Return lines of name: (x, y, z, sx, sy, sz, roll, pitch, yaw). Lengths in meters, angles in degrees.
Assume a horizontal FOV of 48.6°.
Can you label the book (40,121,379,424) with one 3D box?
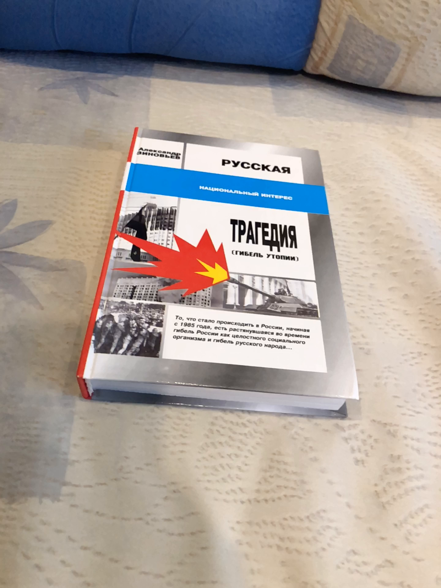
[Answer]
book: (-0.002, -0.027, 0.308, 0.160, 0.040, 0.201, 5, 52, -3)
